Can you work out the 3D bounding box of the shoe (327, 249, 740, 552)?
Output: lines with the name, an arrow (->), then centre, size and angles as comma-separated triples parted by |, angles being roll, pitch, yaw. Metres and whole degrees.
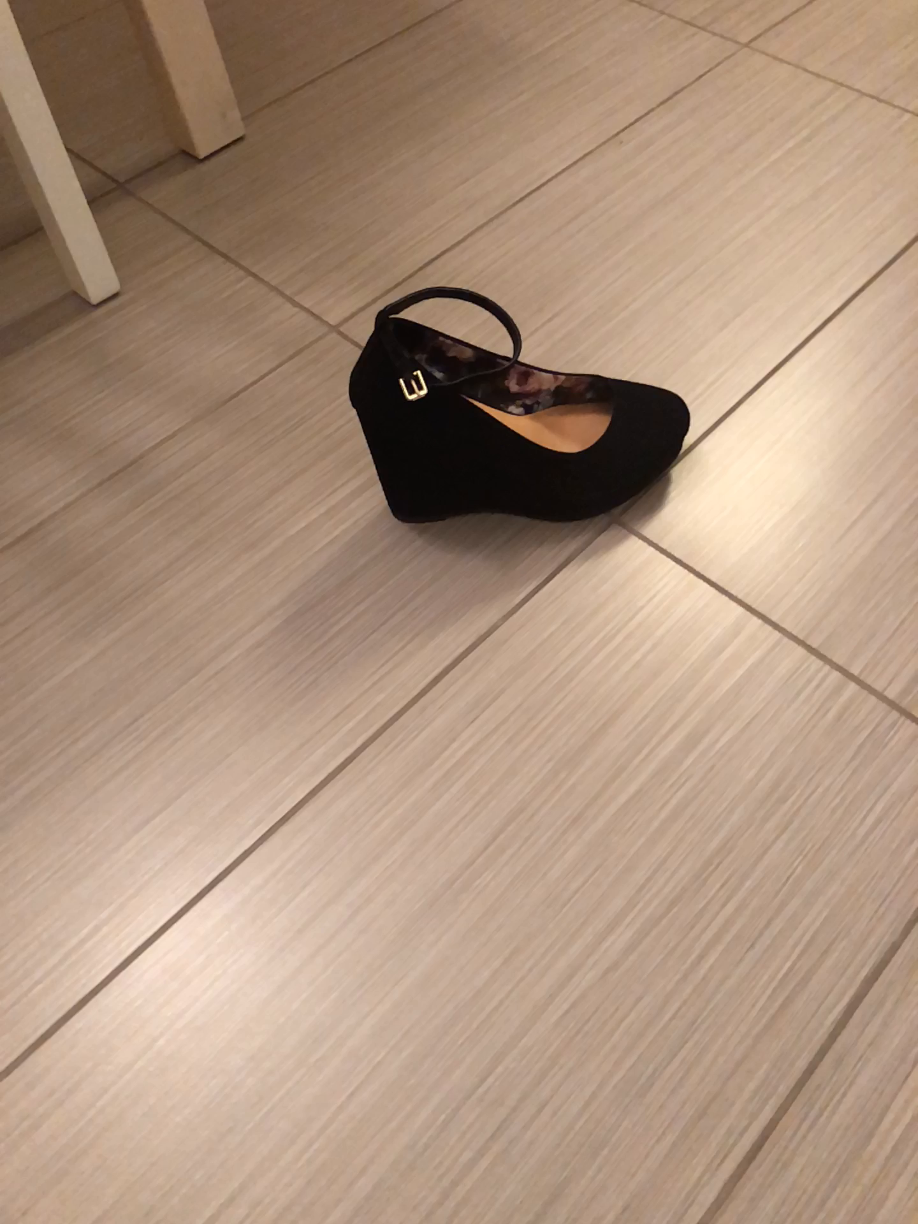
shoe -> 0.044, -0.140, 0.683 | 0.240, 0.139, 0.100 | -9, 56, -4
